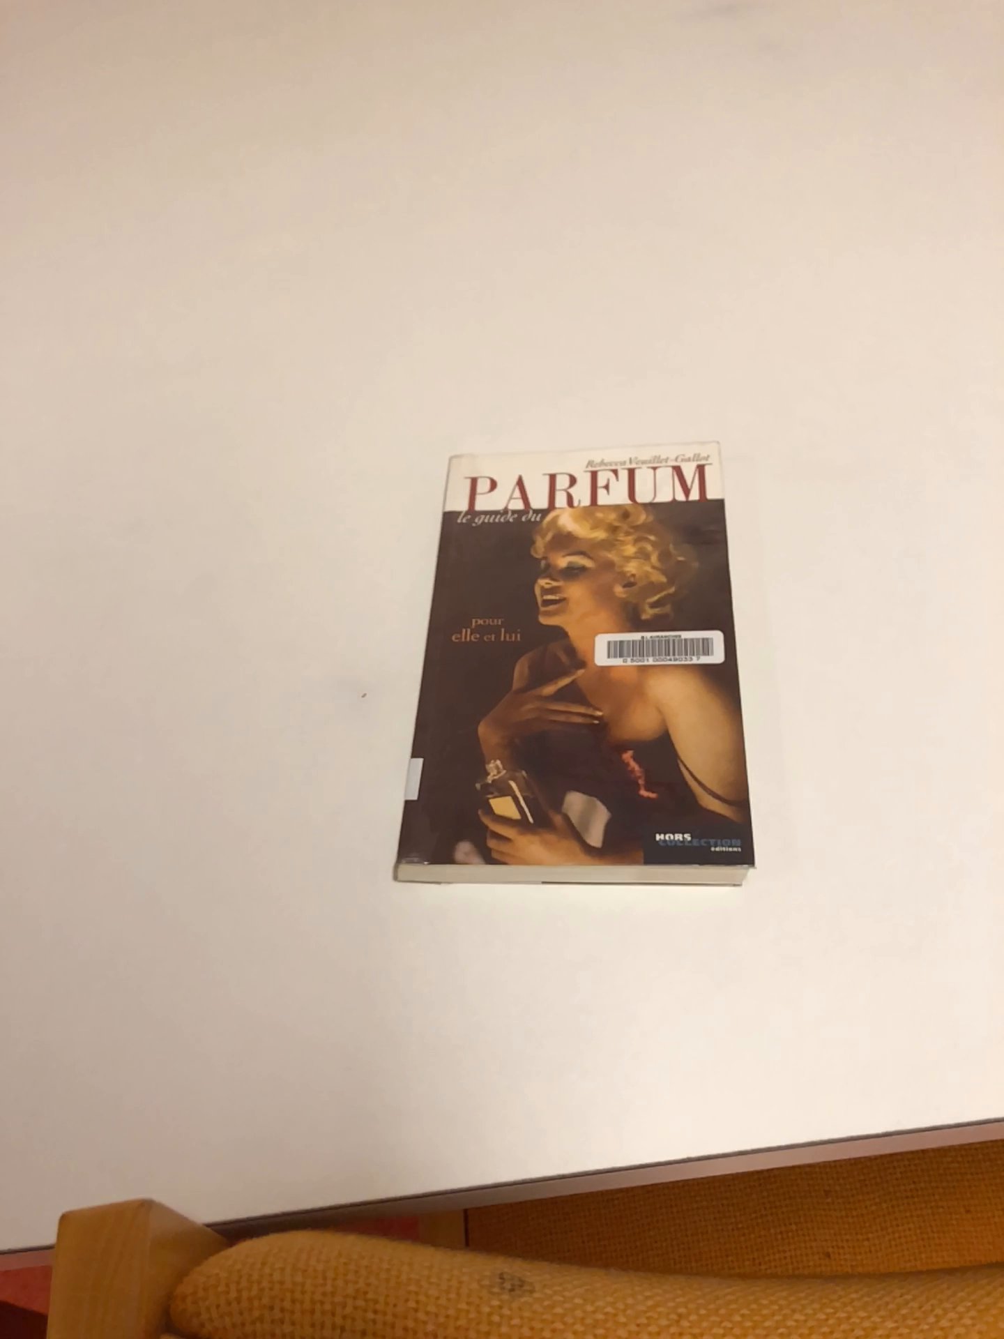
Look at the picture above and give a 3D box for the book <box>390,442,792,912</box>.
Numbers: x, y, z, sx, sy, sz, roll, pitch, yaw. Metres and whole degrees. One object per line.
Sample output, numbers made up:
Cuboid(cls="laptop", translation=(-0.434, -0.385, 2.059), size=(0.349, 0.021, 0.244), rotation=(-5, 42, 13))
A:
Cuboid(cls="book", translation=(0.035, -0.007, 0.438), size=(0.133, 0.020, 0.211), rotation=(-2, 53, 7))
